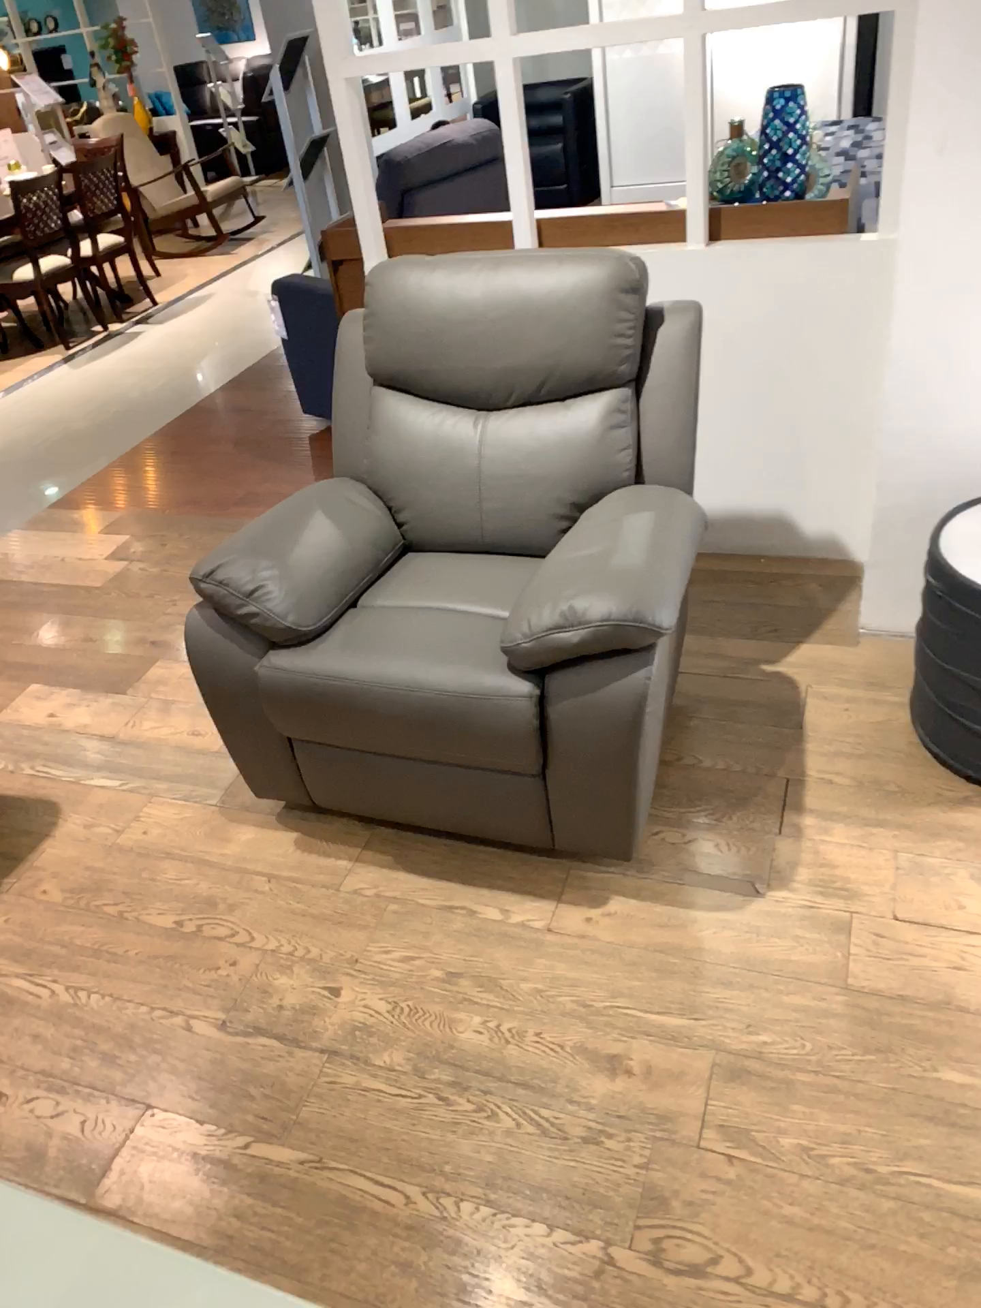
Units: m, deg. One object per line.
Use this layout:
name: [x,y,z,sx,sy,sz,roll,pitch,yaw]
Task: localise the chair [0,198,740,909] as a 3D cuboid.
chair: [-0.089,-0.262,1.972,1.001,0.935,0.944,6,37,21]
